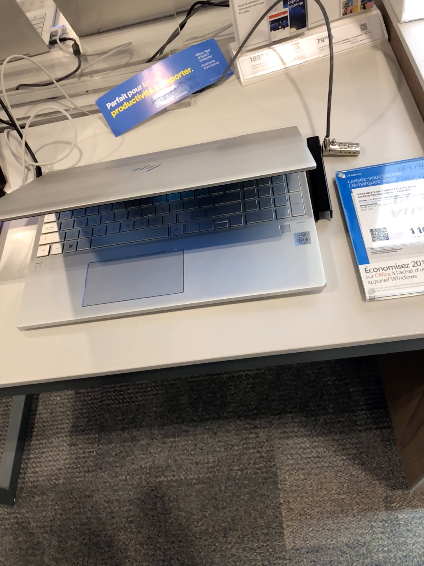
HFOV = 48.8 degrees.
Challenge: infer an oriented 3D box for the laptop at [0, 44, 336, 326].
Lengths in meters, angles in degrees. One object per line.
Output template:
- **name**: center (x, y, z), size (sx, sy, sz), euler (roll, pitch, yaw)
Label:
- **laptop**: center (-0.063, -0.101, 0.512), size (0.346, 0.116, 0.230), euler (-8, 58, 10)
